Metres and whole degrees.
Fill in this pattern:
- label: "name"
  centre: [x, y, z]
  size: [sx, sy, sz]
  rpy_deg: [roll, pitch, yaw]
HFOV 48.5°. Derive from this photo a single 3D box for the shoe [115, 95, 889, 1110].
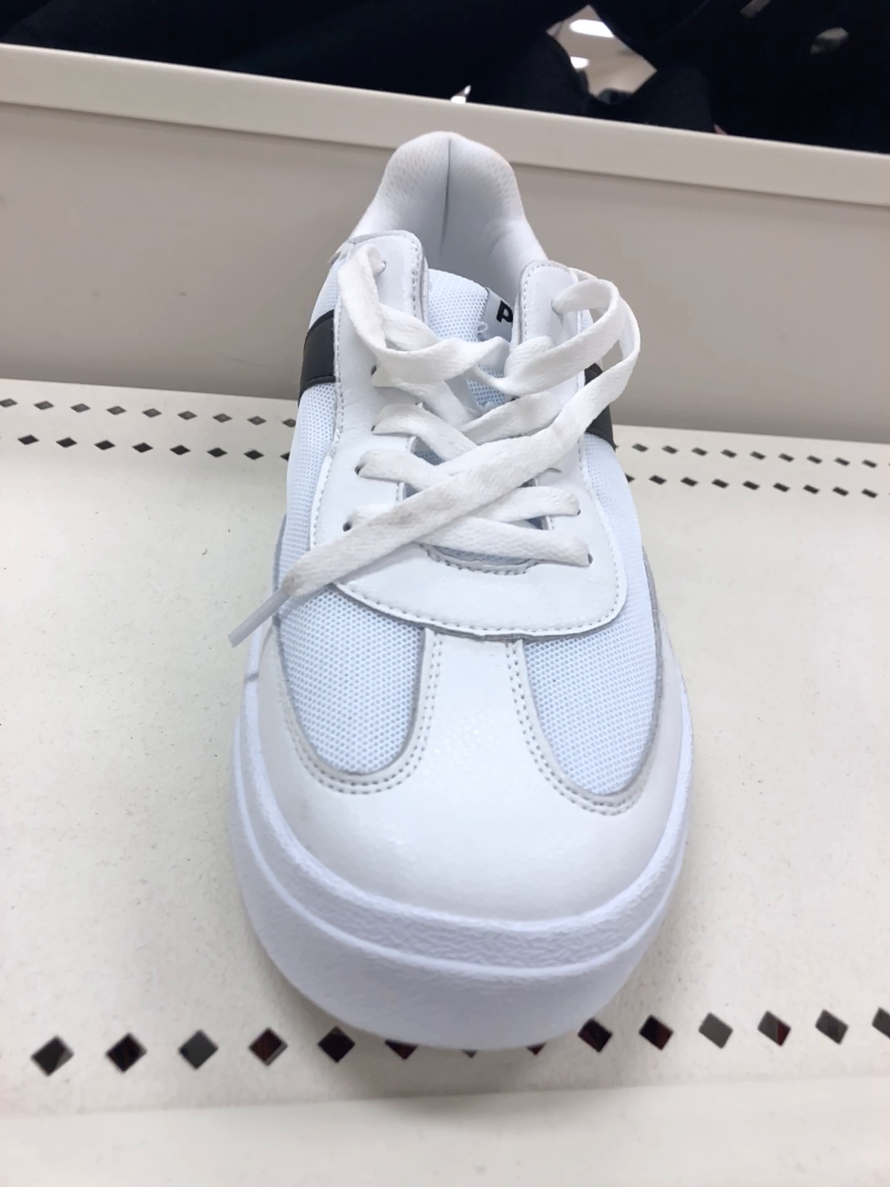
- label: "shoe"
  centre: [0.011, -0.064, 0.295]
  size: [0.113, 0.129, 0.373]
  rpy_deg: [5, 28, -5]
